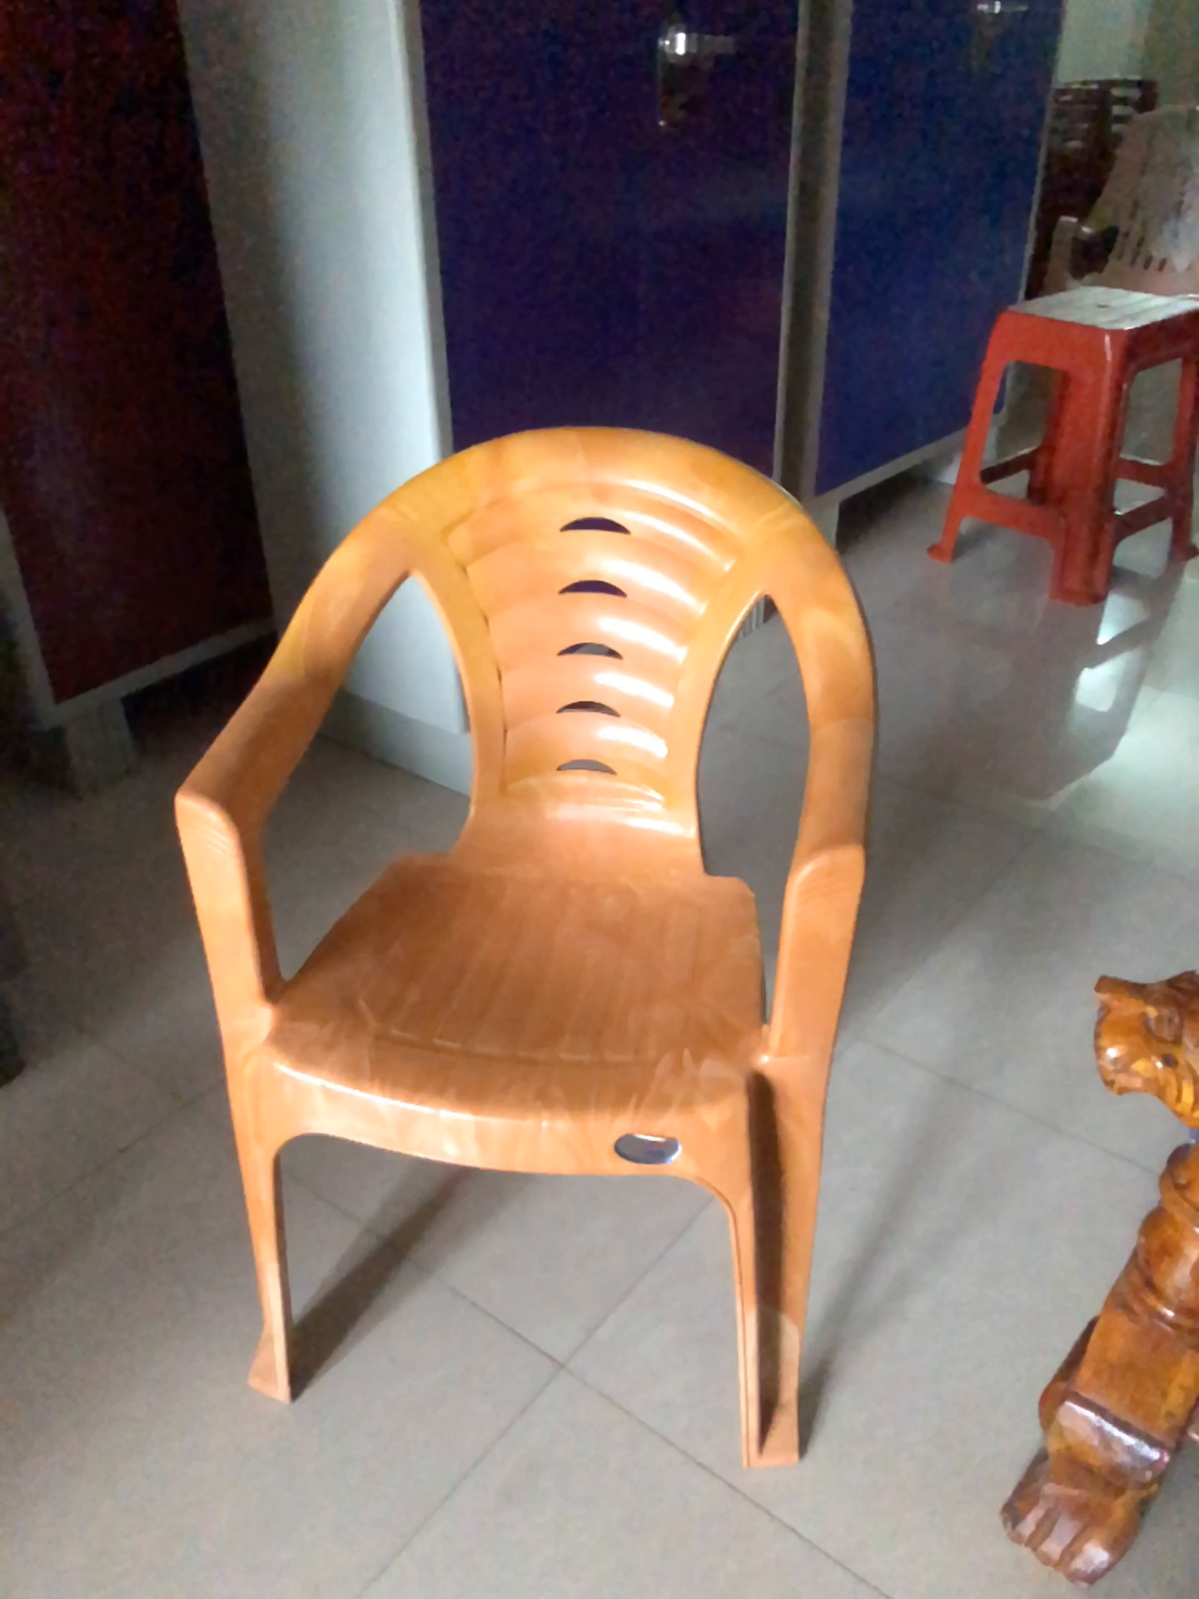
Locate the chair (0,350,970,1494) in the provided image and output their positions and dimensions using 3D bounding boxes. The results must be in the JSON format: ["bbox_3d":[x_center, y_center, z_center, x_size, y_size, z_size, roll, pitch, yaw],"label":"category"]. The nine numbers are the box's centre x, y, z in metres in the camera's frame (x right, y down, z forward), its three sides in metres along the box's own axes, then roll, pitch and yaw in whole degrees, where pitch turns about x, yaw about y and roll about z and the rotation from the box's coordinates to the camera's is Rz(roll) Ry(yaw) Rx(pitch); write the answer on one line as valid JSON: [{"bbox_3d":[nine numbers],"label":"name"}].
[{"bbox_3d":[-0.048,0.083,1.247,0.630,0.845,0.604,3,32,8],"label":"chair"}]
